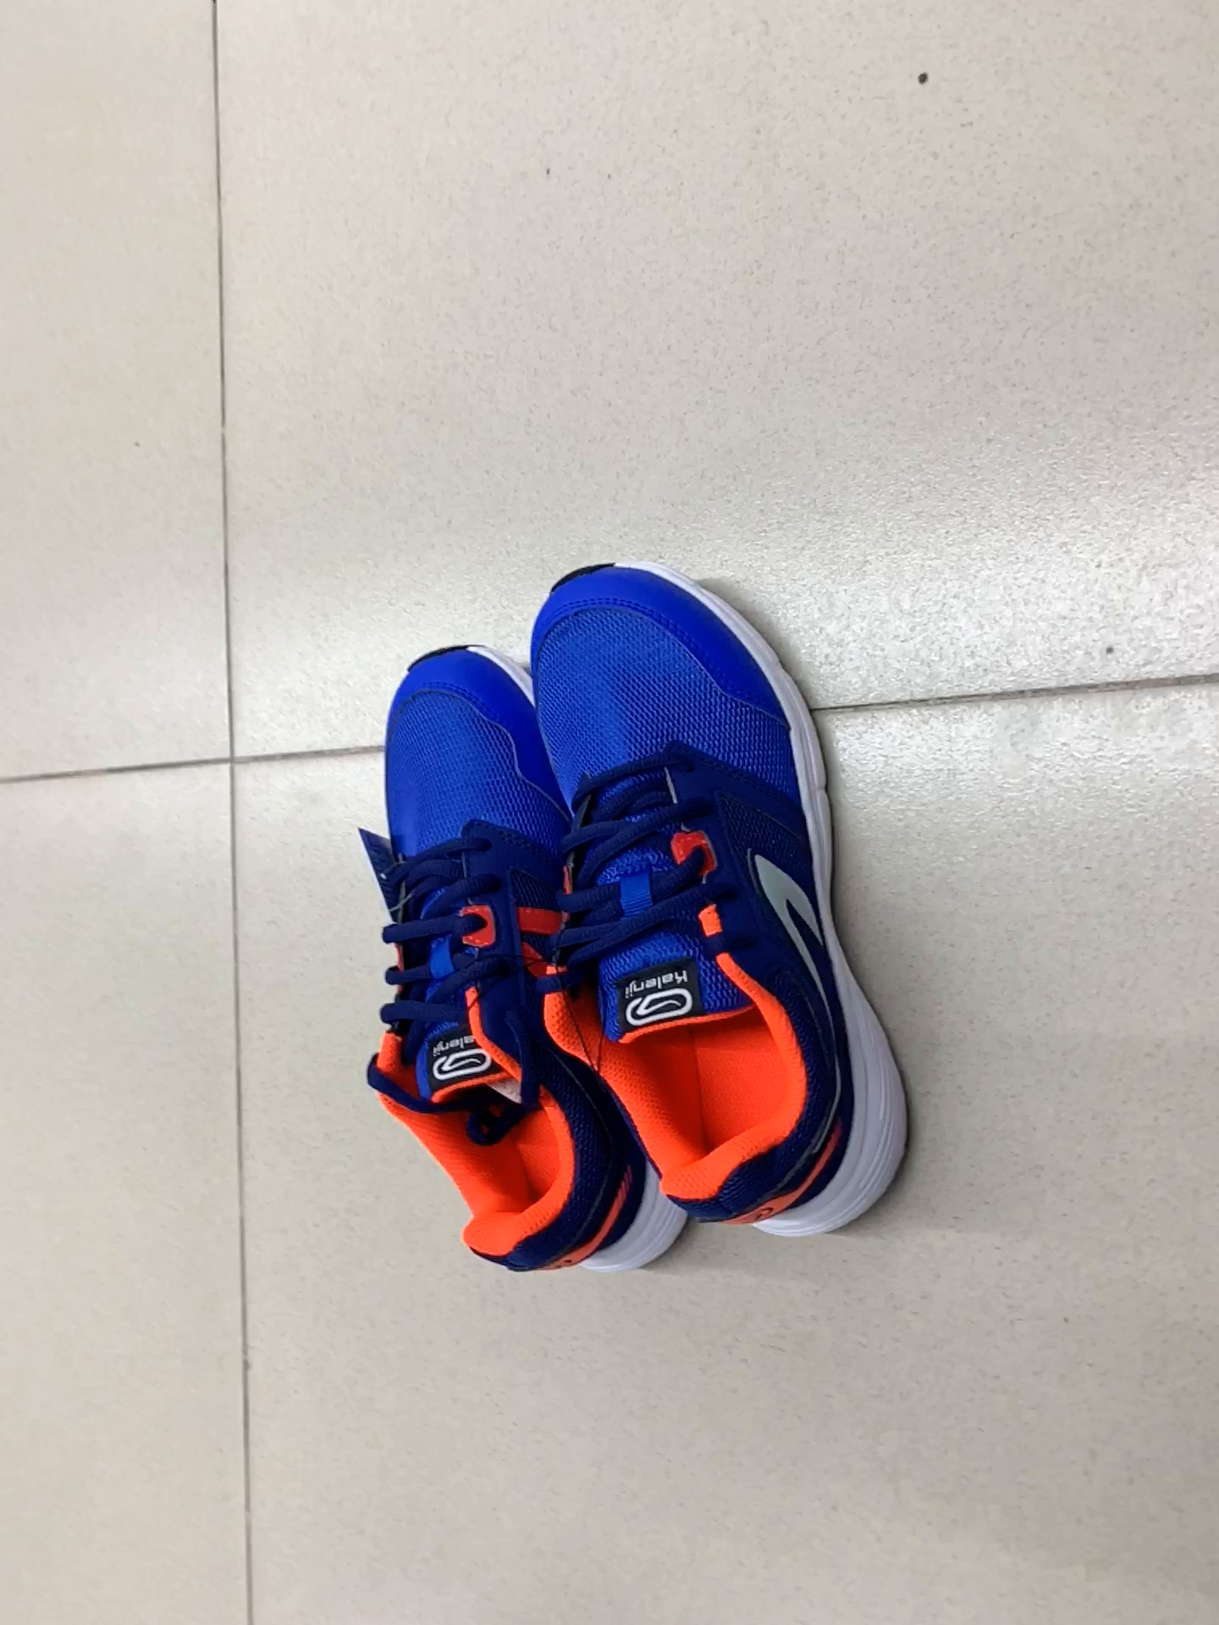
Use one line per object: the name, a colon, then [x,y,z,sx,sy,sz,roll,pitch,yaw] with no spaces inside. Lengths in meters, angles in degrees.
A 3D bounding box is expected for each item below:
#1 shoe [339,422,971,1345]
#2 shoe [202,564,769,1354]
shoe: [0.017,0.021,0.410,0.090,0.120,0.250,-23,78,29]
shoe: [-0.046,0.049,0.471,0.090,0.120,0.250,-25,77,29]
